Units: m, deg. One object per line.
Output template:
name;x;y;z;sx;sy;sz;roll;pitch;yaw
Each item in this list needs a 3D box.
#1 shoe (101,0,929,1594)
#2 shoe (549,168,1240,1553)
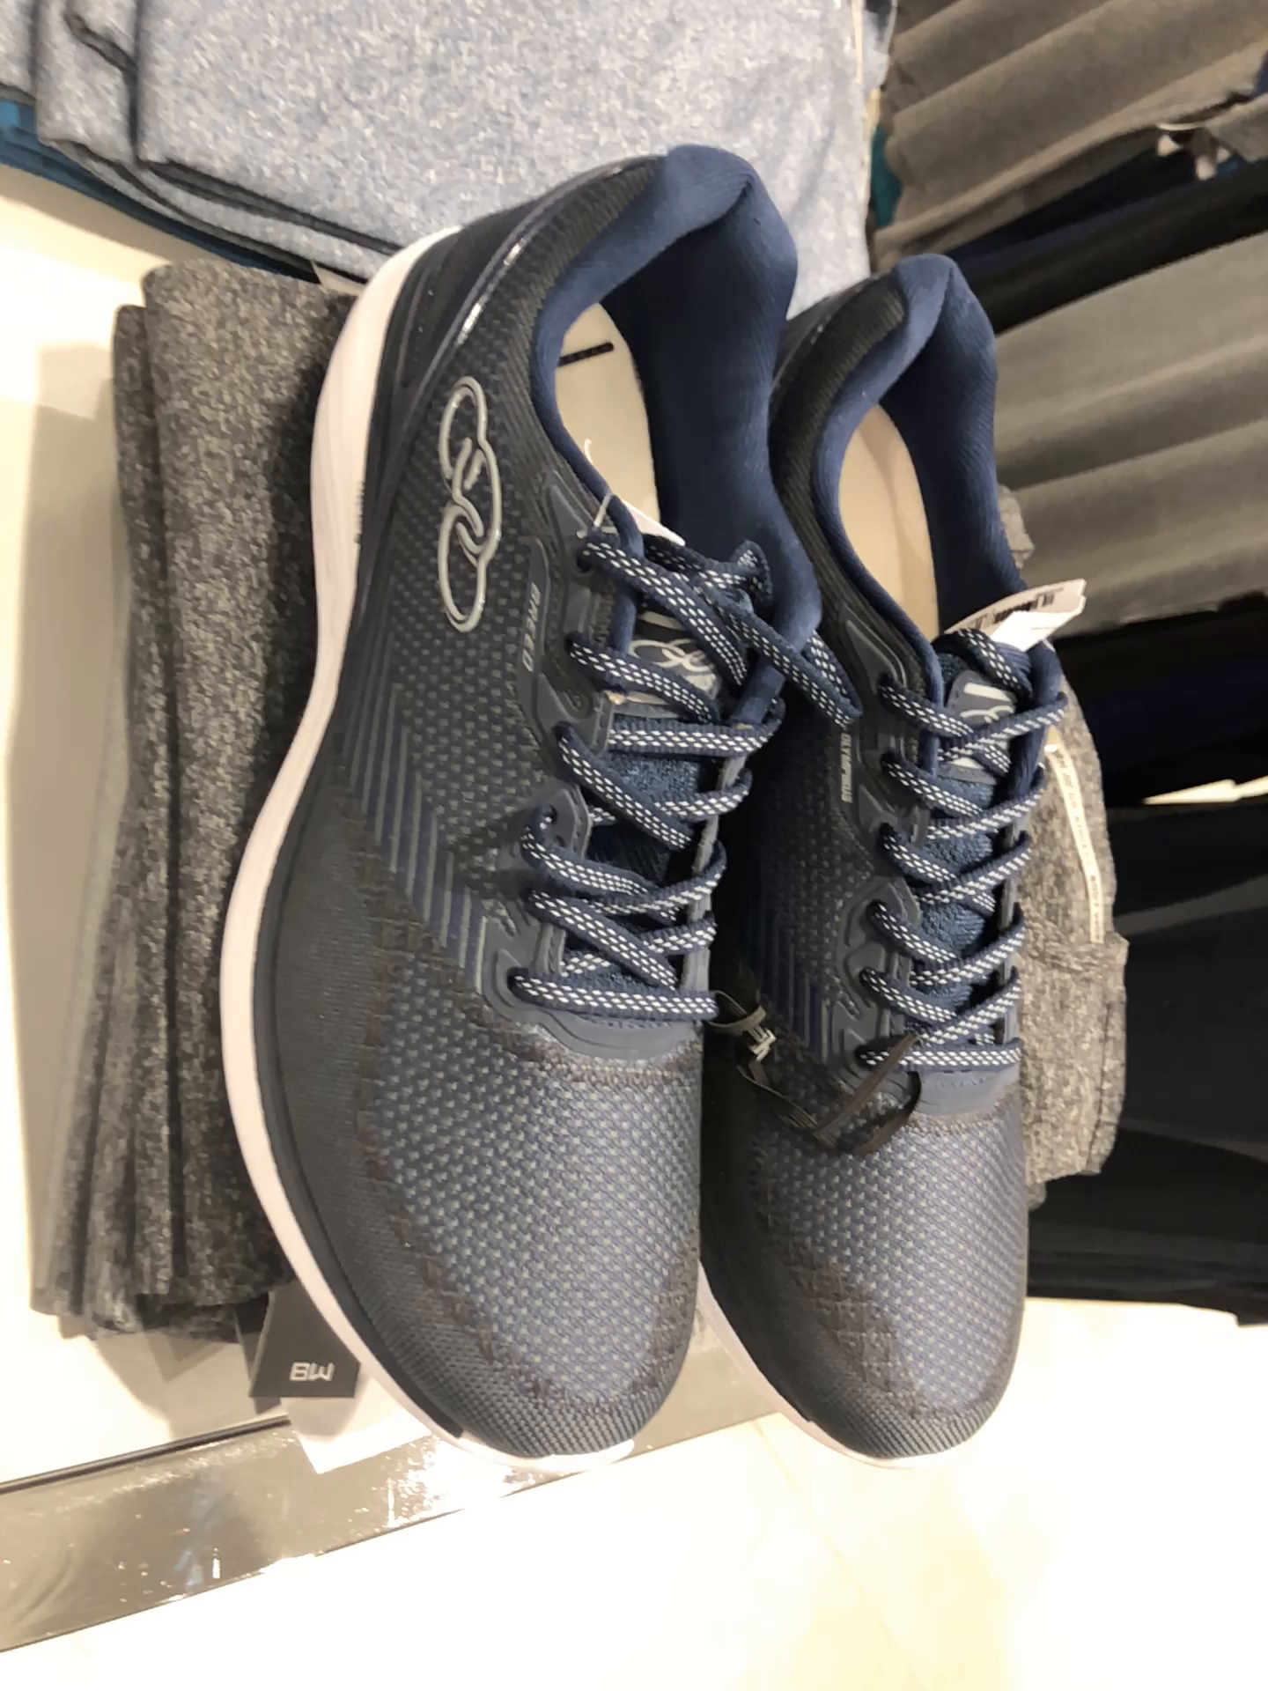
shoe;-0.025;-0.016;0.322;0.121;0.129;0.290;10;78;-37
shoe;0.057;0.004;0.376;0.121;0.129;0.290;1;84;-23
